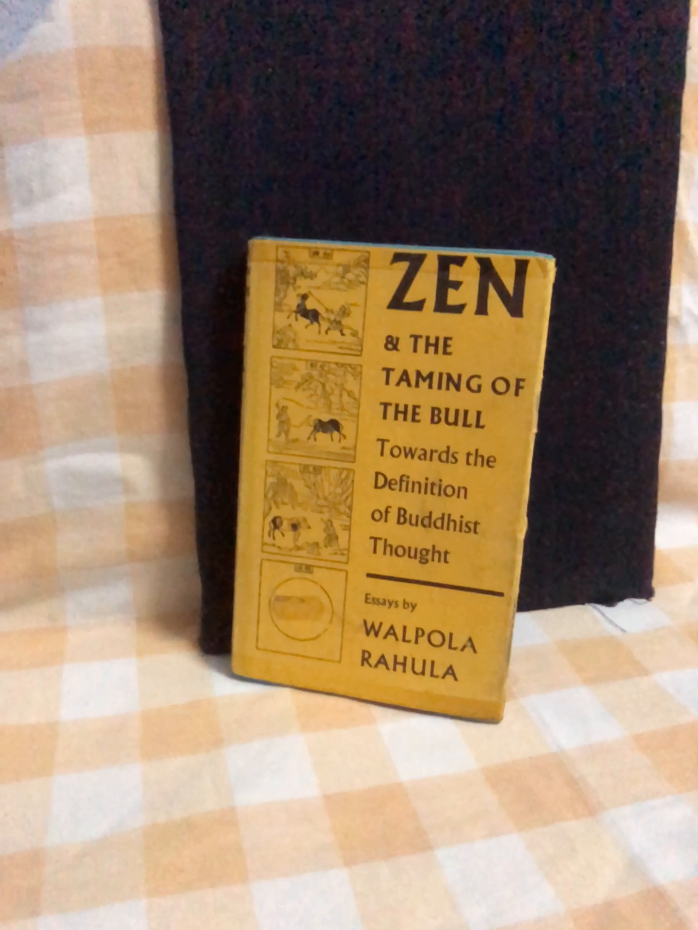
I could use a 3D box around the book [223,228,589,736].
[{"bbox_3d":[0.020,0.008,0.351,0.140,0.209,0.030,7,13,10],"label":"book"}]
